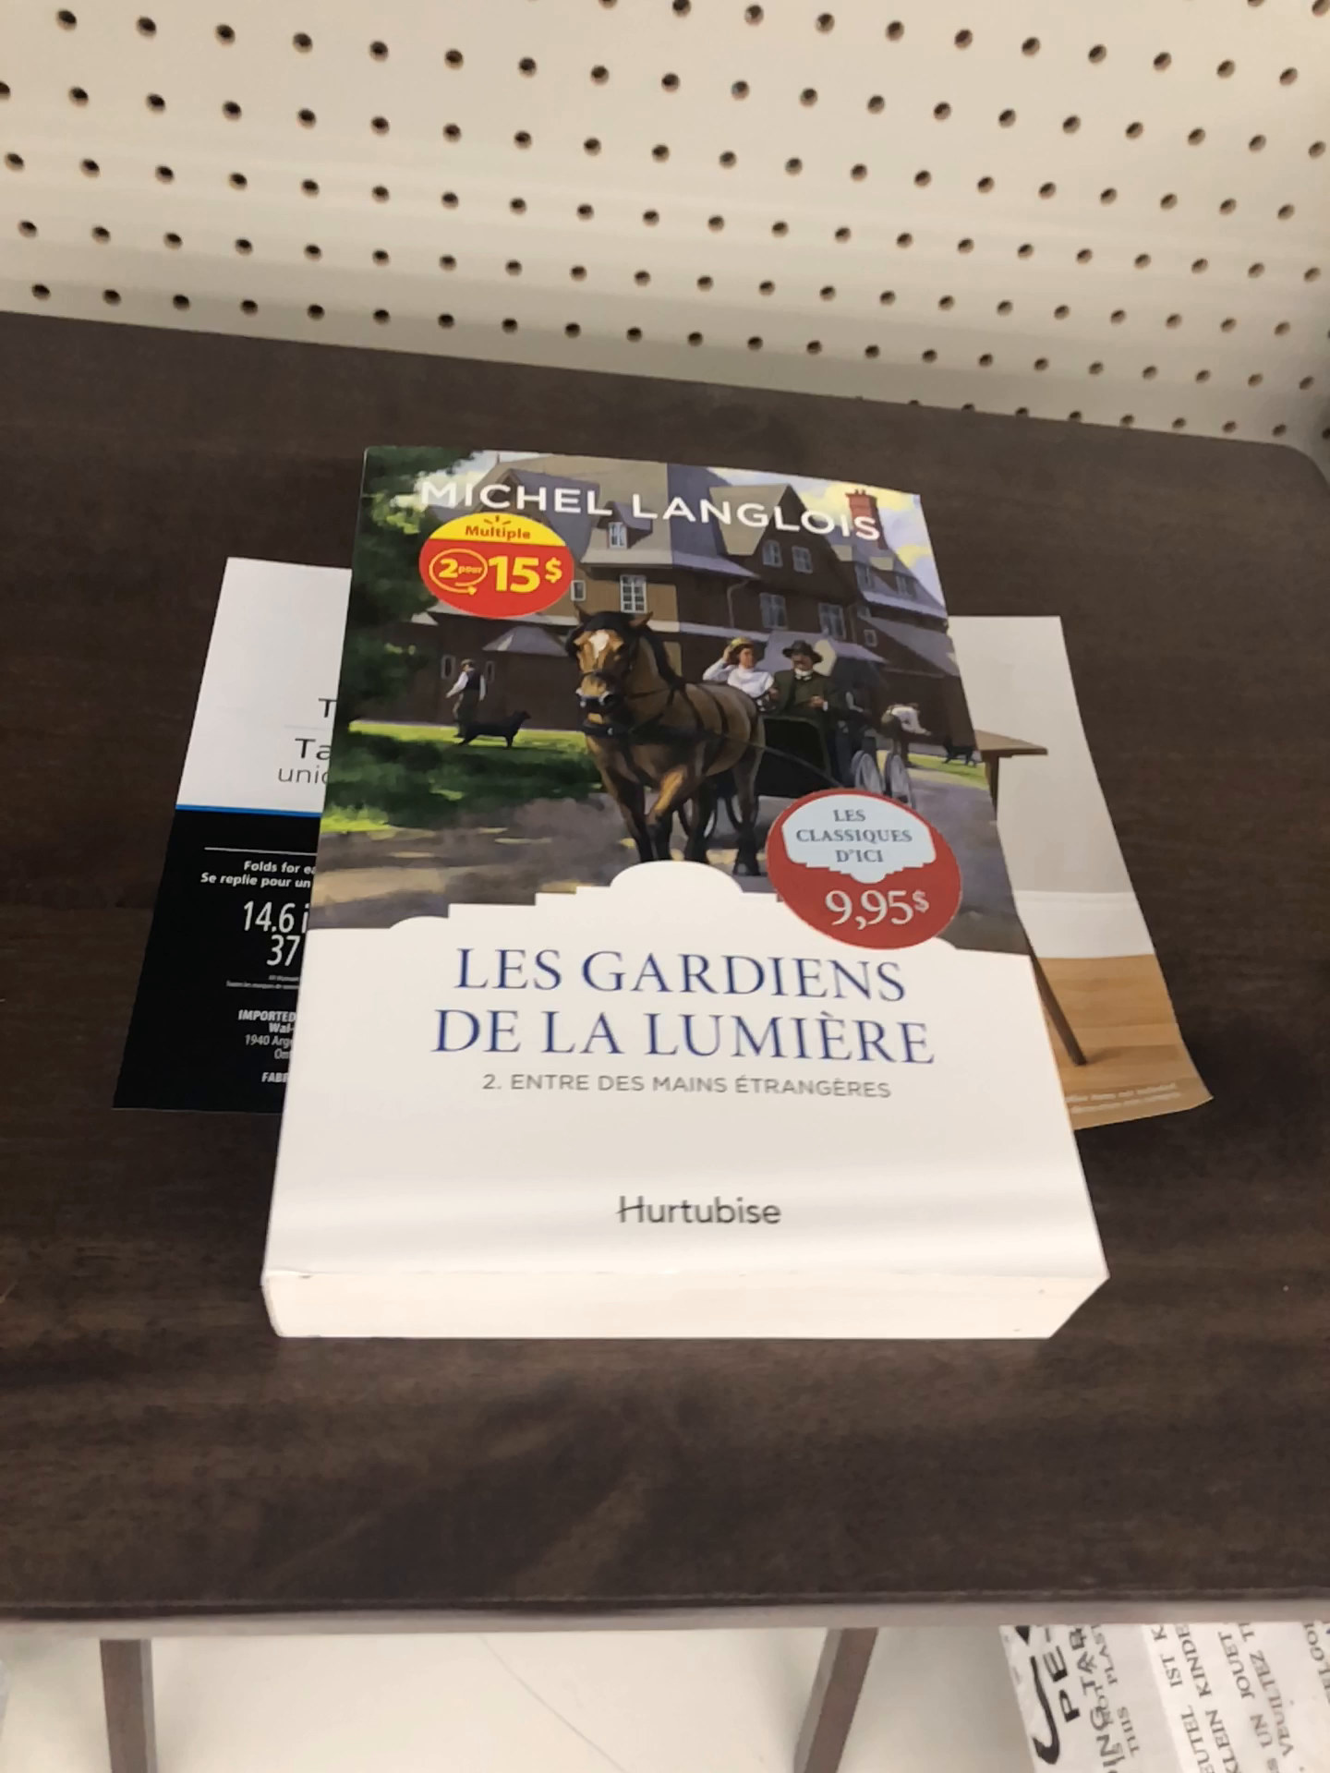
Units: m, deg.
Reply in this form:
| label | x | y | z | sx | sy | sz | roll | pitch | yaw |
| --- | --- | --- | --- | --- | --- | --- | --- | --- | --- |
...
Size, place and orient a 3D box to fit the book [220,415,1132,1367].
| label | x | y | z | sx | sy | sz | roll | pitch | yaw |
| --- | --- | --- | --- | --- | --- | --- | --- | --- | --- |
| book | -0.003 | -0.013 | 0.338 | 0.158 | 0.039 | 0.235 | 3 | 52 | -9 |
